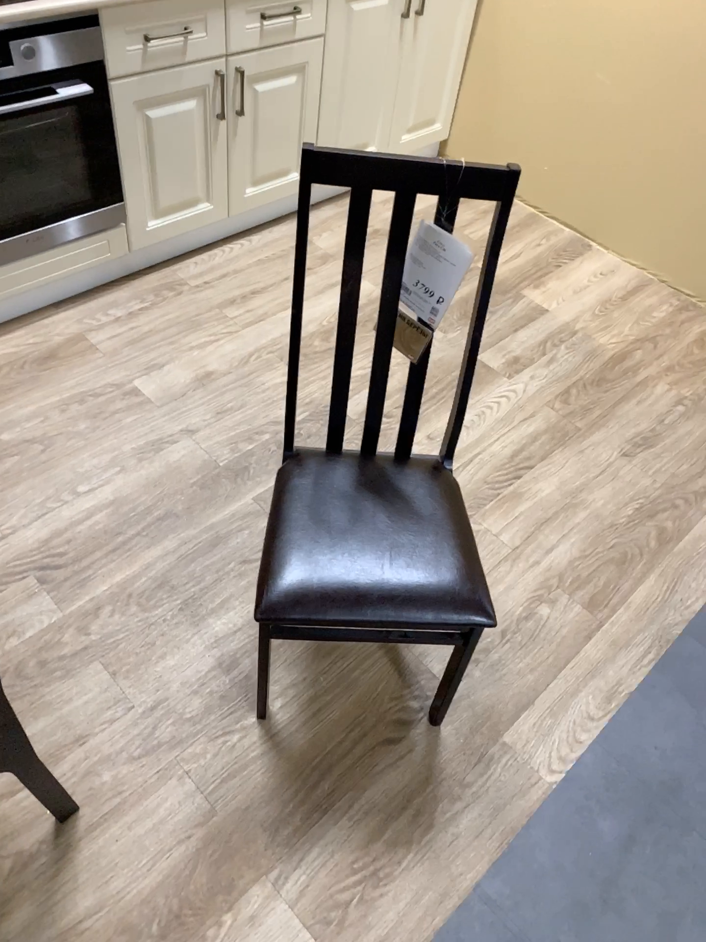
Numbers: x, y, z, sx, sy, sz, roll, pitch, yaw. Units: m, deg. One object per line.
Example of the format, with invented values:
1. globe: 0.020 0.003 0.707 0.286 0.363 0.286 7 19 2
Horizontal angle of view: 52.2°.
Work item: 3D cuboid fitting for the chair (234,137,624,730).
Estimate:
1. chair: 0.028 0.026 1.294 0.420 0.986 0.492 3 49 -5
